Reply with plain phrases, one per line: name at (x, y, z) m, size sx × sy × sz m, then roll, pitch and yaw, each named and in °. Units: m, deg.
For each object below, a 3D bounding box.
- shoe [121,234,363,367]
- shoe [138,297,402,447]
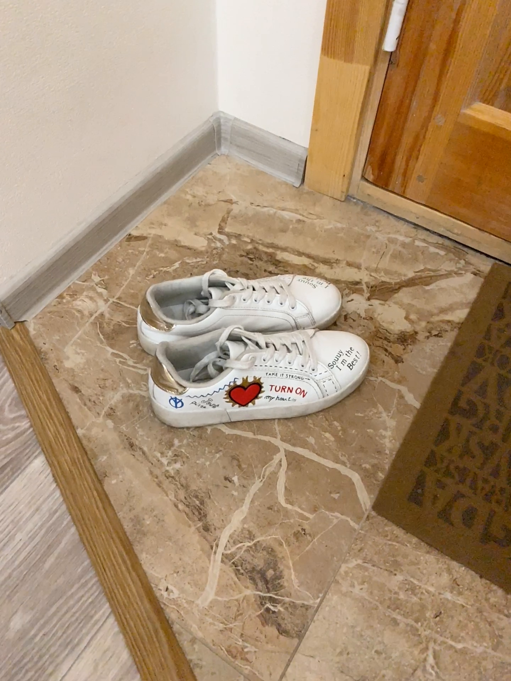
shoe at (-0.018, -0.048, 0.615) m, size 0.256 × 0.080 × 0.093 m, roll -9°, pitch 55°, yaw -8°
shoe at (0.012, 0.032, 0.570) m, size 0.256 × 0.080 × 0.093 m, roll -10°, pitch 56°, yaw -9°
